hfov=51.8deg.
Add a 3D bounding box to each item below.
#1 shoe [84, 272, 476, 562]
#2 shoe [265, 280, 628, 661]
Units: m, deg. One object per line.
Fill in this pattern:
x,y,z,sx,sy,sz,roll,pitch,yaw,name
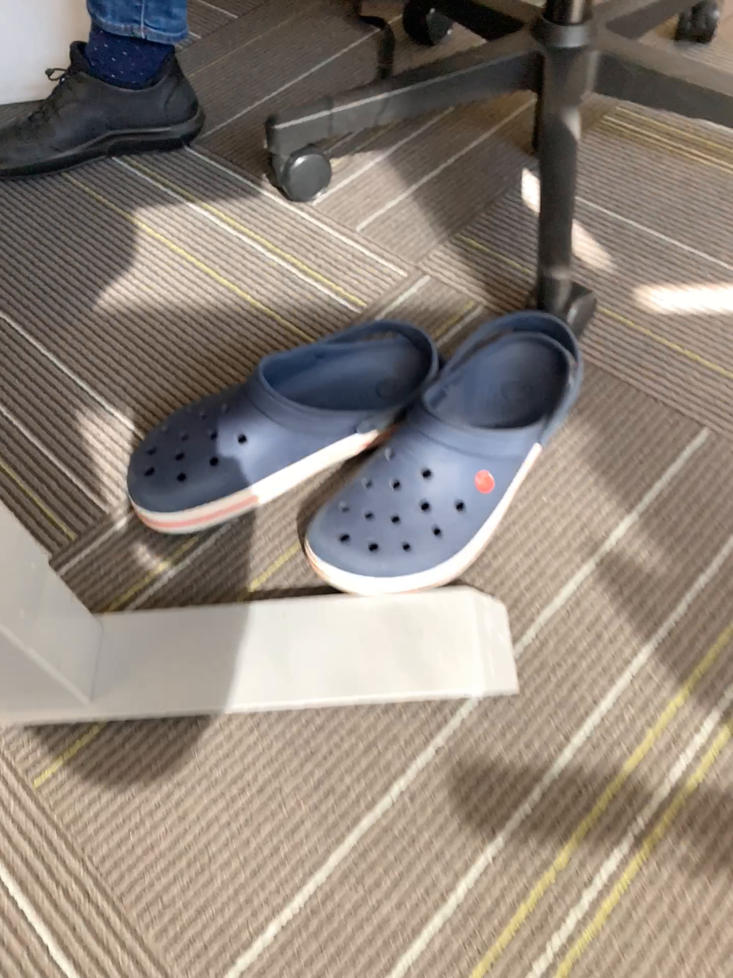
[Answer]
-0.073,-0.072,0.693,0.320,0.080,0.130,-25,59,-11,shoe
0.078,-0.030,0.655,0.130,0.080,0.330,32,66,23,shoe
